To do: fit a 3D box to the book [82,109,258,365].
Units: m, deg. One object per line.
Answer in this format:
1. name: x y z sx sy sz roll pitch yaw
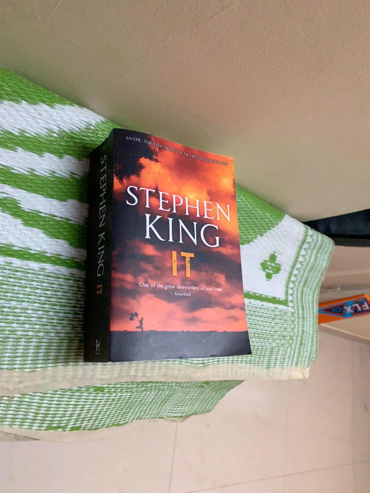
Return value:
1. book: -0.015 0.000 0.368 0.141 0.070 0.210 11 67 -37
